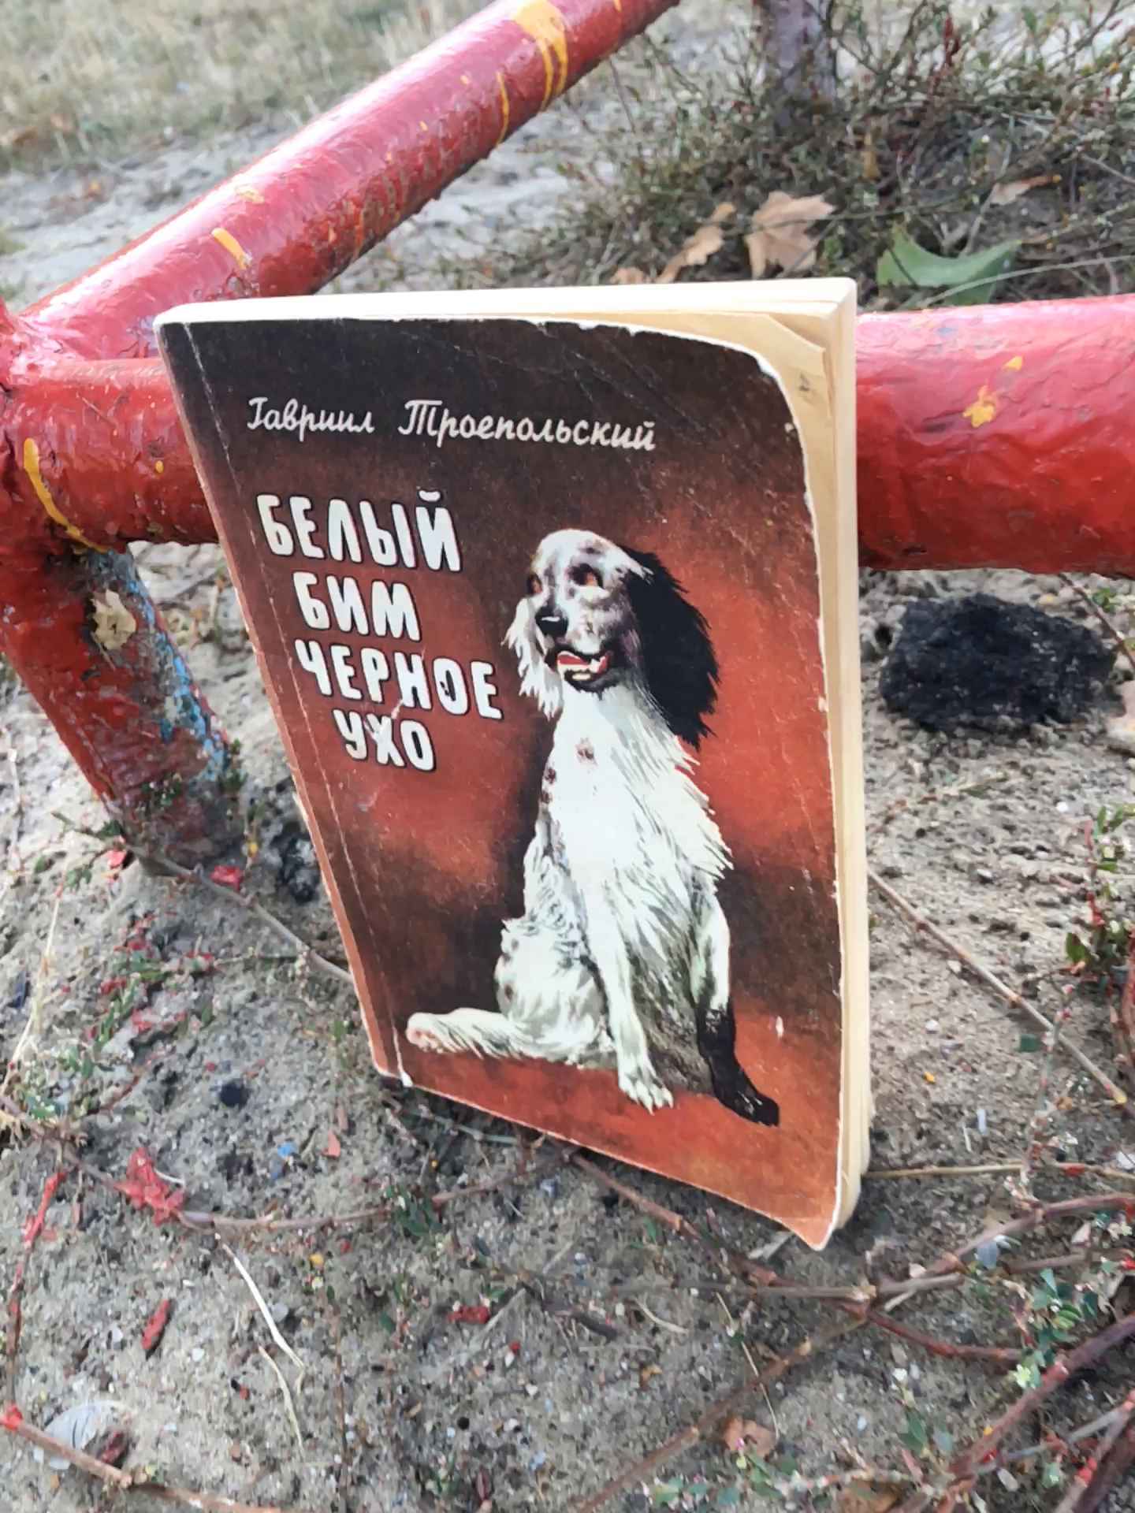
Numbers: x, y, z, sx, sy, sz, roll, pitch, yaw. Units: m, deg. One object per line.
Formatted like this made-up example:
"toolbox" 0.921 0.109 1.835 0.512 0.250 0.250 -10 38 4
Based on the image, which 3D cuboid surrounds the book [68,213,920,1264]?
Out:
"book" -0.003 0.006 0.244 0.130 0.196 0.030 10 40 30
